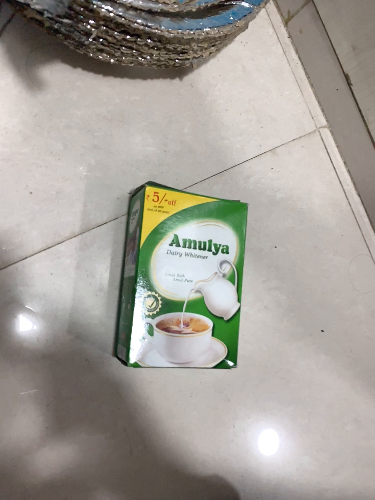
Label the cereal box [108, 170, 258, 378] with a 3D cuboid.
[{"bbox_3d":[-0.004,0.022,0.300,0.090,0.060,0.140,8,82,-22],"label":"cereal box"}]
